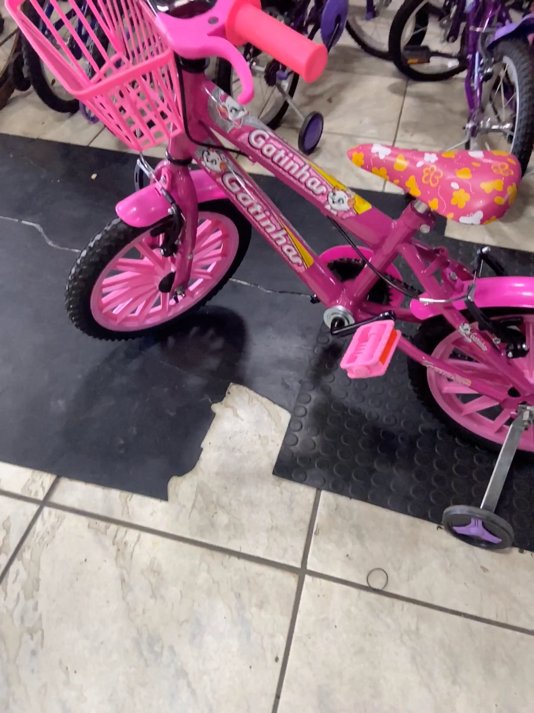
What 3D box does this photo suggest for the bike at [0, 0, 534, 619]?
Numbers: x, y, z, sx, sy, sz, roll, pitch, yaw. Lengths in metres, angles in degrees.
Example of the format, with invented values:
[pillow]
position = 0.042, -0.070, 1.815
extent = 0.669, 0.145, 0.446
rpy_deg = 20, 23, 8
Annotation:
[bike]
position = 0.101, -0.117, 0.717
extent = 0.938, 0.788, 0.468
rpy_deg = 11, 51, 11
